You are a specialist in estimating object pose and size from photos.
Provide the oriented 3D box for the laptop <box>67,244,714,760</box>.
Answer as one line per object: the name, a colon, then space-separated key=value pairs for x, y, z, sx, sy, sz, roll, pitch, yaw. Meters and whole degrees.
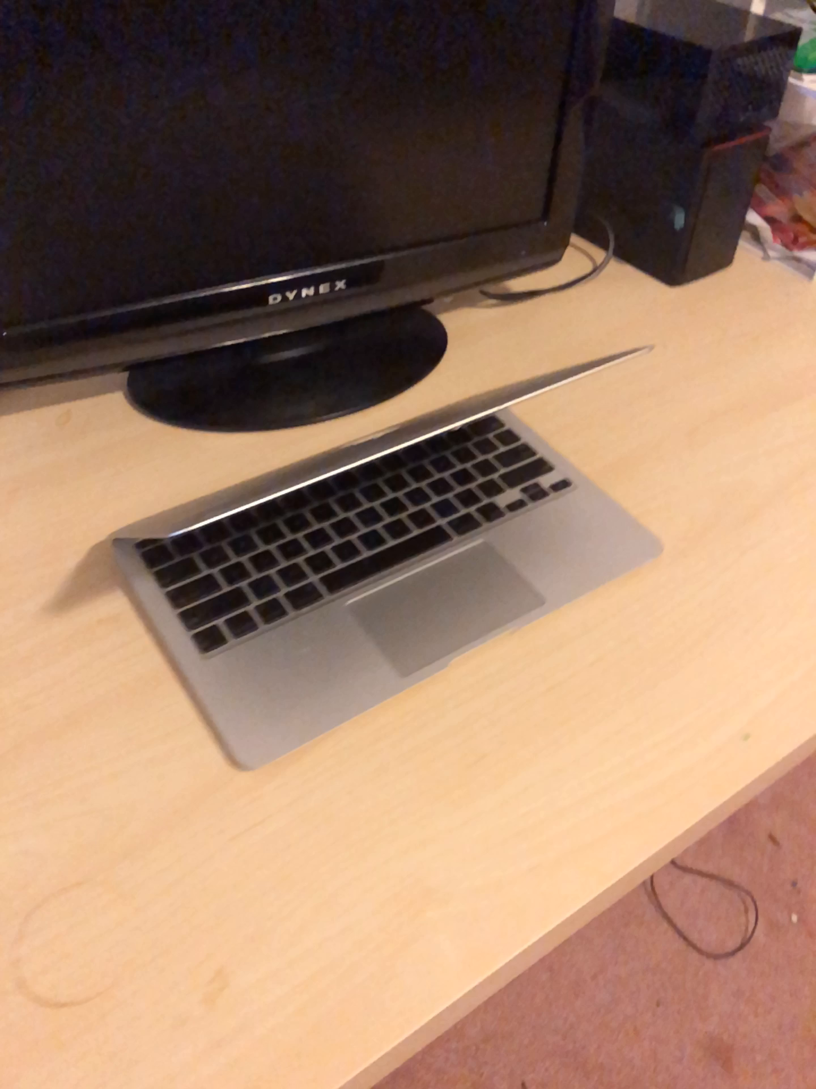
laptop: x=-0.010 y=-0.045 z=0.521 sx=0.287 sy=0.127 sz=0.190 roll=-24 pitch=50 yaw=-24
